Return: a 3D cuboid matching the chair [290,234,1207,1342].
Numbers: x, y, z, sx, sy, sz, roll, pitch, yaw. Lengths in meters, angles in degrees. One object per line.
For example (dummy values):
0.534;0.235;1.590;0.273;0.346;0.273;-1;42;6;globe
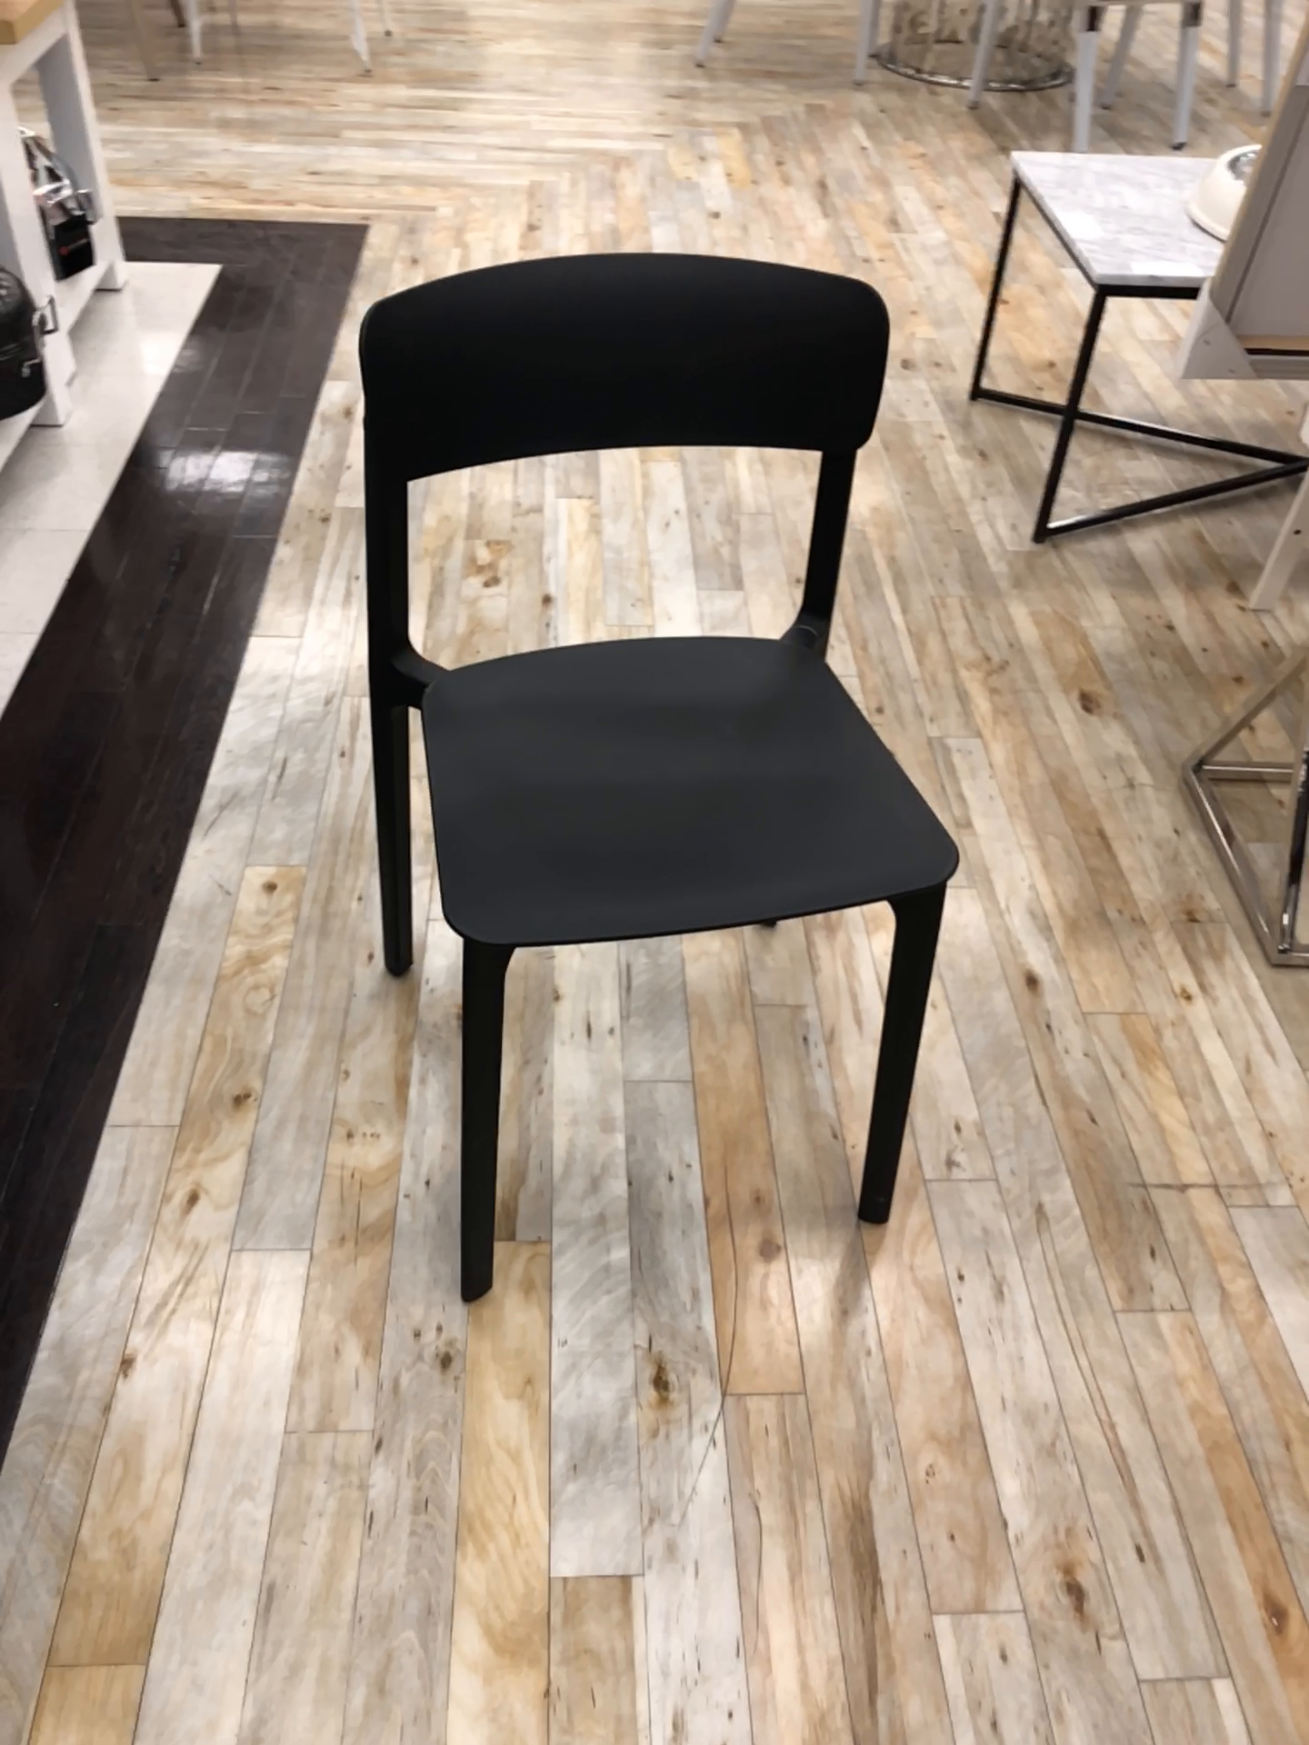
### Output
0.004;-0.078;1.233;0.500;0.707;0.542;-8;43;-12;chair
